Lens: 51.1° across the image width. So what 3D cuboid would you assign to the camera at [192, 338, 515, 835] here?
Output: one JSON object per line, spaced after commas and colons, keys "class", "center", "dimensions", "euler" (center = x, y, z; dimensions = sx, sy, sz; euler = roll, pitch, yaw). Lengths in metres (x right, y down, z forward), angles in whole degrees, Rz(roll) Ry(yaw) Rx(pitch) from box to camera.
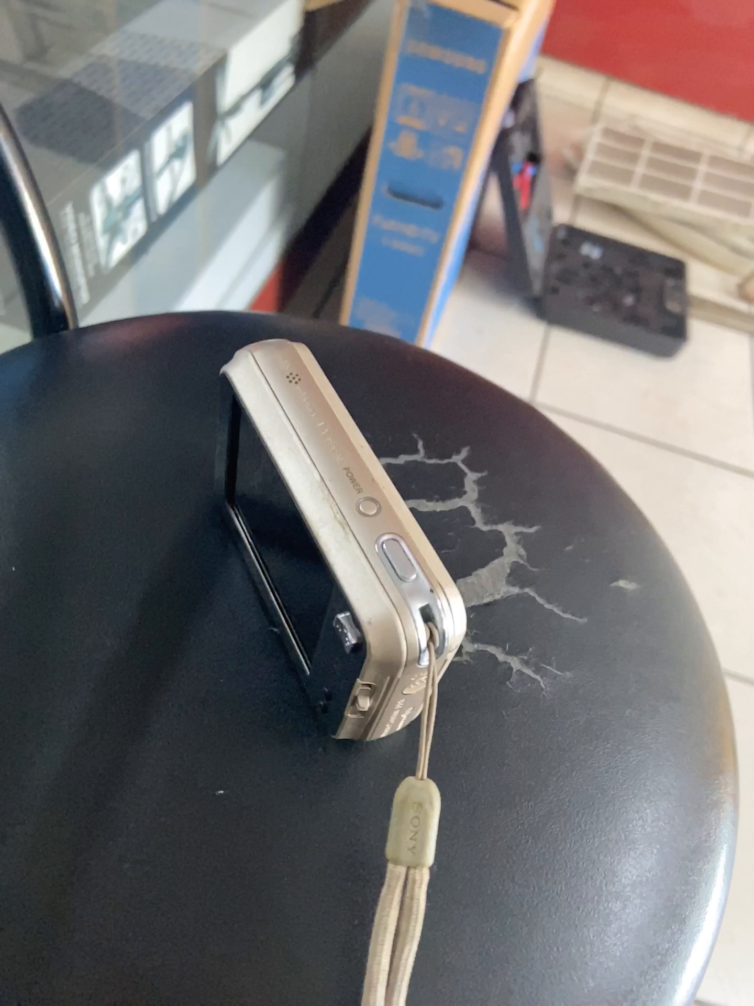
{"class": "camera", "center": [-0.015, 0.018, 0.205], "dimensions": [0.030, 0.060, 0.110], "euler": [-16, 57, -24]}
